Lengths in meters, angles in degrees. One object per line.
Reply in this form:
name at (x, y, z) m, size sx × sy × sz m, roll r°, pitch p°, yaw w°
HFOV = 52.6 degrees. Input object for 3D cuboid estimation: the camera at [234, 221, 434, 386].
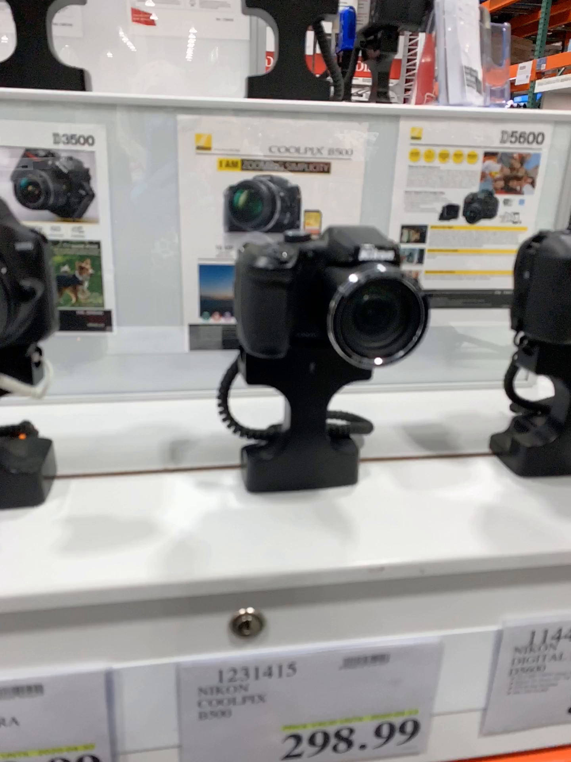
camera at (0.026, -0.055, 0.378) m, size 0.110 × 0.089 × 0.070 m, roll -3°, pitch 21°, yaw -11°
